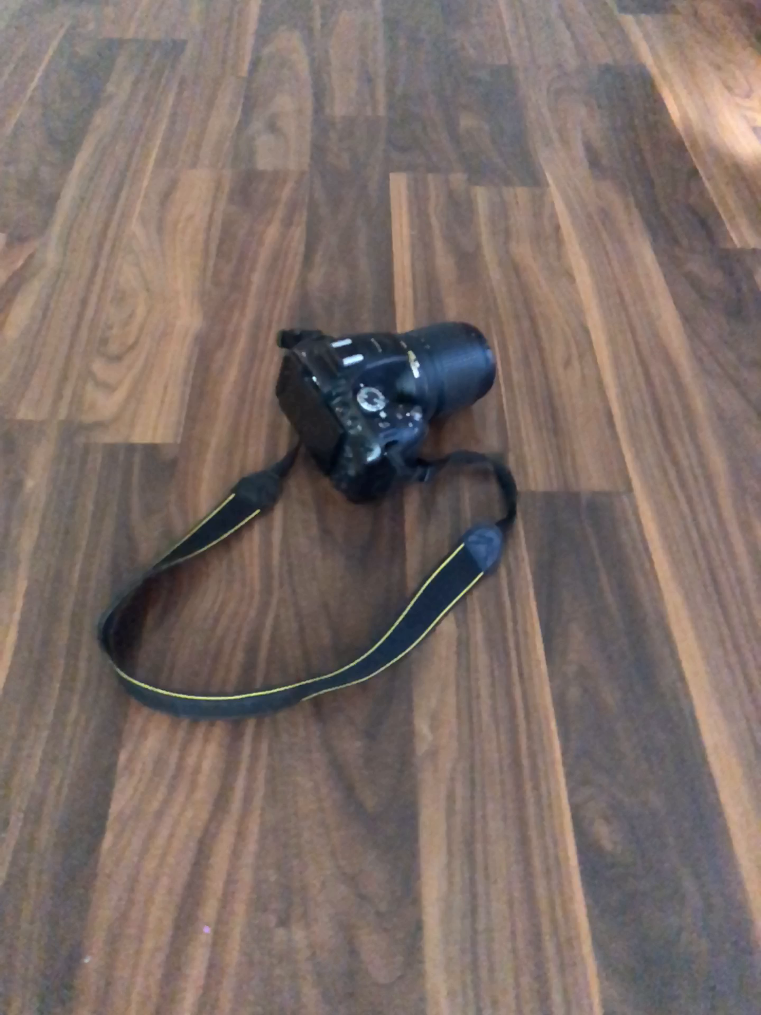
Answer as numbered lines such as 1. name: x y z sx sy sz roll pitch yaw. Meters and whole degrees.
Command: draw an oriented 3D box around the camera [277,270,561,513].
1. camera: 0.026 -0.090 0.611 0.160 0.070 0.120 -27 54 -22
